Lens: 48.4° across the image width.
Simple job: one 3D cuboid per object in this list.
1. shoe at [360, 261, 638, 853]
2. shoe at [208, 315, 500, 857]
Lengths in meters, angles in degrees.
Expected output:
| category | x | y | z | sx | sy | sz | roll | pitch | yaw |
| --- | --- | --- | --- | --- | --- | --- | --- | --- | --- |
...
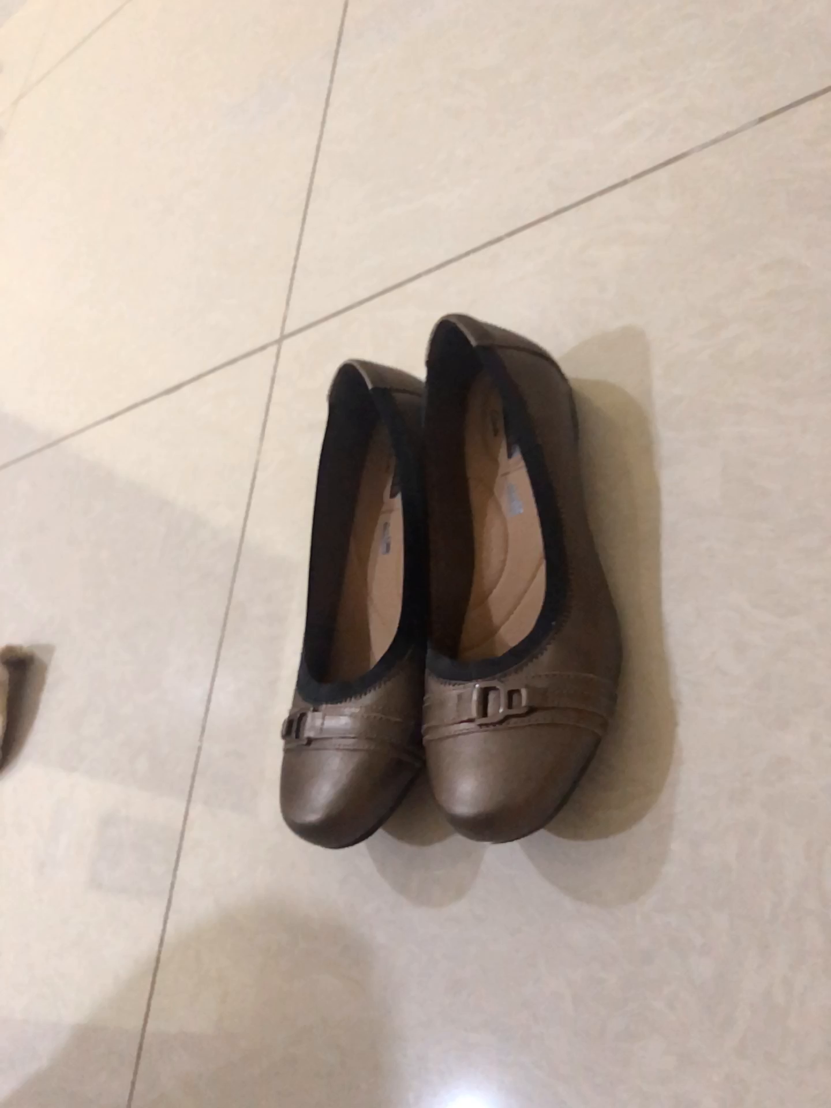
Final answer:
| category | x | y | z | sx | sy | sz | roll | pitch | yaw |
| --- | --- | --- | --- | --- | --- | --- | --- | --- | --- |
| shoe | 0.042 | -0.001 | 0.438 | 0.090 | 0.070 | 0.260 | -17 | 57 | 35 |
| shoe | -0.027 | 0.012 | 0.490 | 0.101 | 0.050 | 0.270 | -9 | 61 | 39 |
